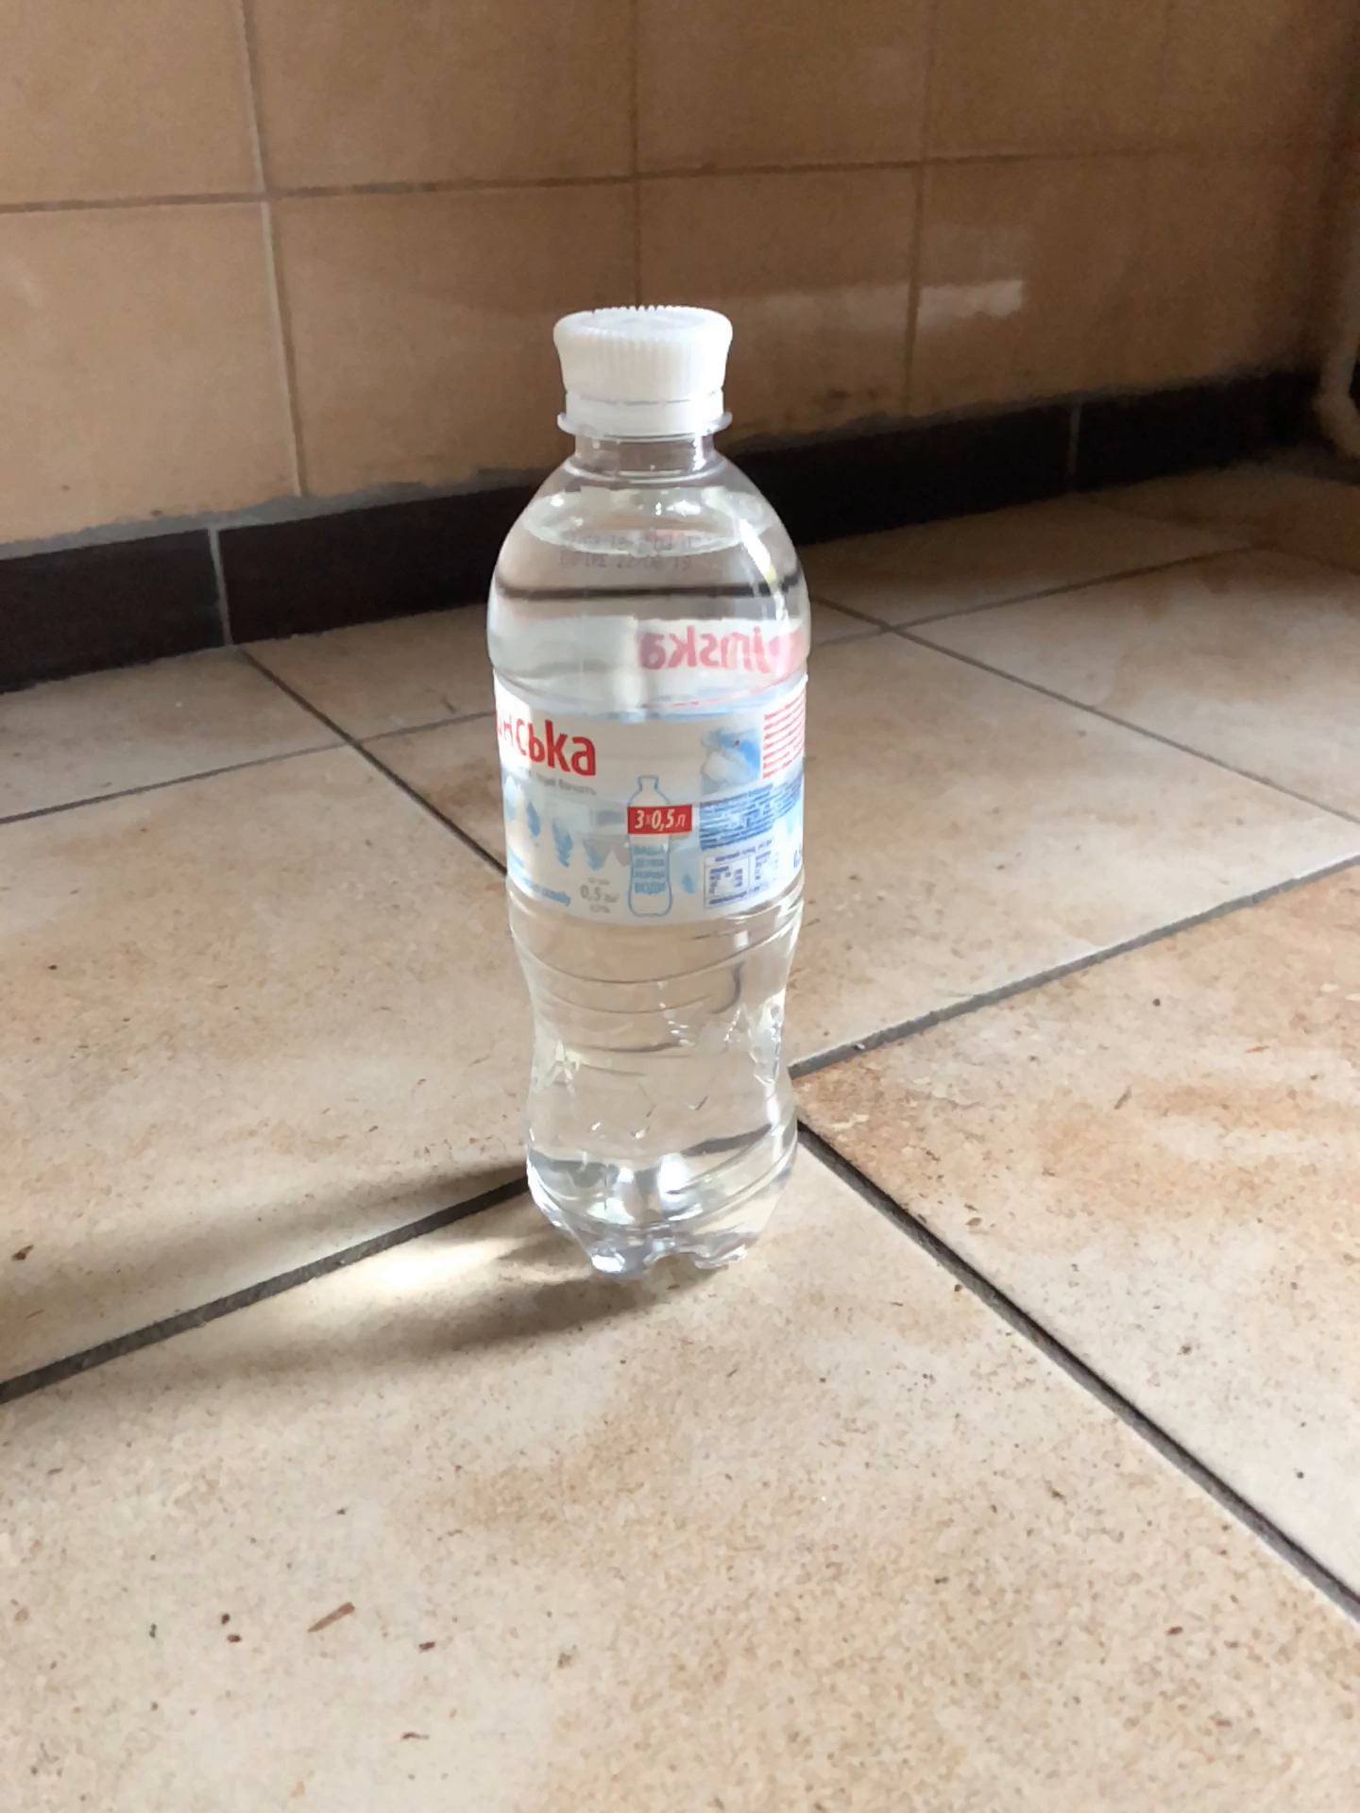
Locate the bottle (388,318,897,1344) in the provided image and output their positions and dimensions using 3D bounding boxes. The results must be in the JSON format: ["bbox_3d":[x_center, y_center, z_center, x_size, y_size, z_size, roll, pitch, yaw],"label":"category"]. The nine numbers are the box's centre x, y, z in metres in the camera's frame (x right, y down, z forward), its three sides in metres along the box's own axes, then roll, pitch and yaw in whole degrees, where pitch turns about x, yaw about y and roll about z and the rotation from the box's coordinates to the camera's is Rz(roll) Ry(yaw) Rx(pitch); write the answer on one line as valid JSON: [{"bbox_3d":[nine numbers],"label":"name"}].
[{"bbox_3d":[-0.011,-0.015,0.325,0.080,0.199,0.080,0,28,0],"label":"bottle"}]
